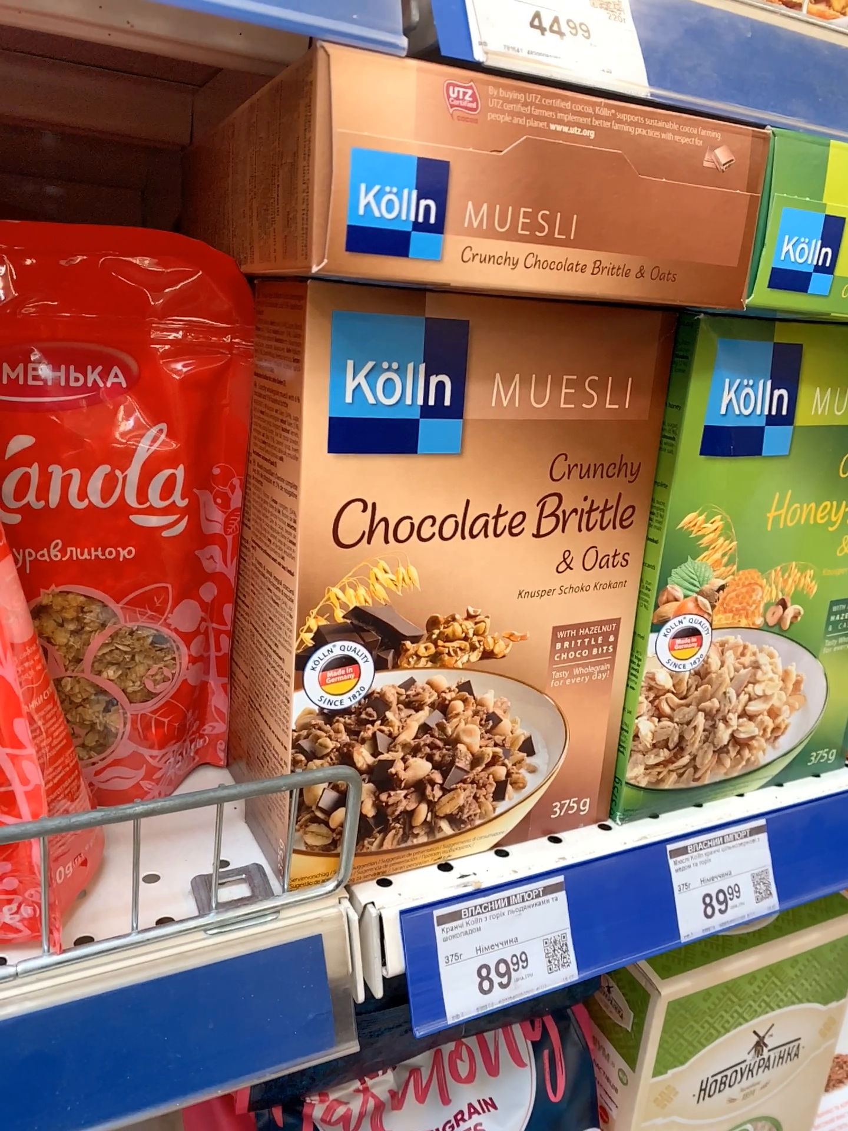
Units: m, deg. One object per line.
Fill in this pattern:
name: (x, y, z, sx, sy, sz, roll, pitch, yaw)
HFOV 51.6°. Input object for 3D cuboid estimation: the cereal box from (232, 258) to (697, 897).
cereal box: (0.011, 0.001, 0.336, 0.150, 0.209, 0.060, -3, 16, -27)
